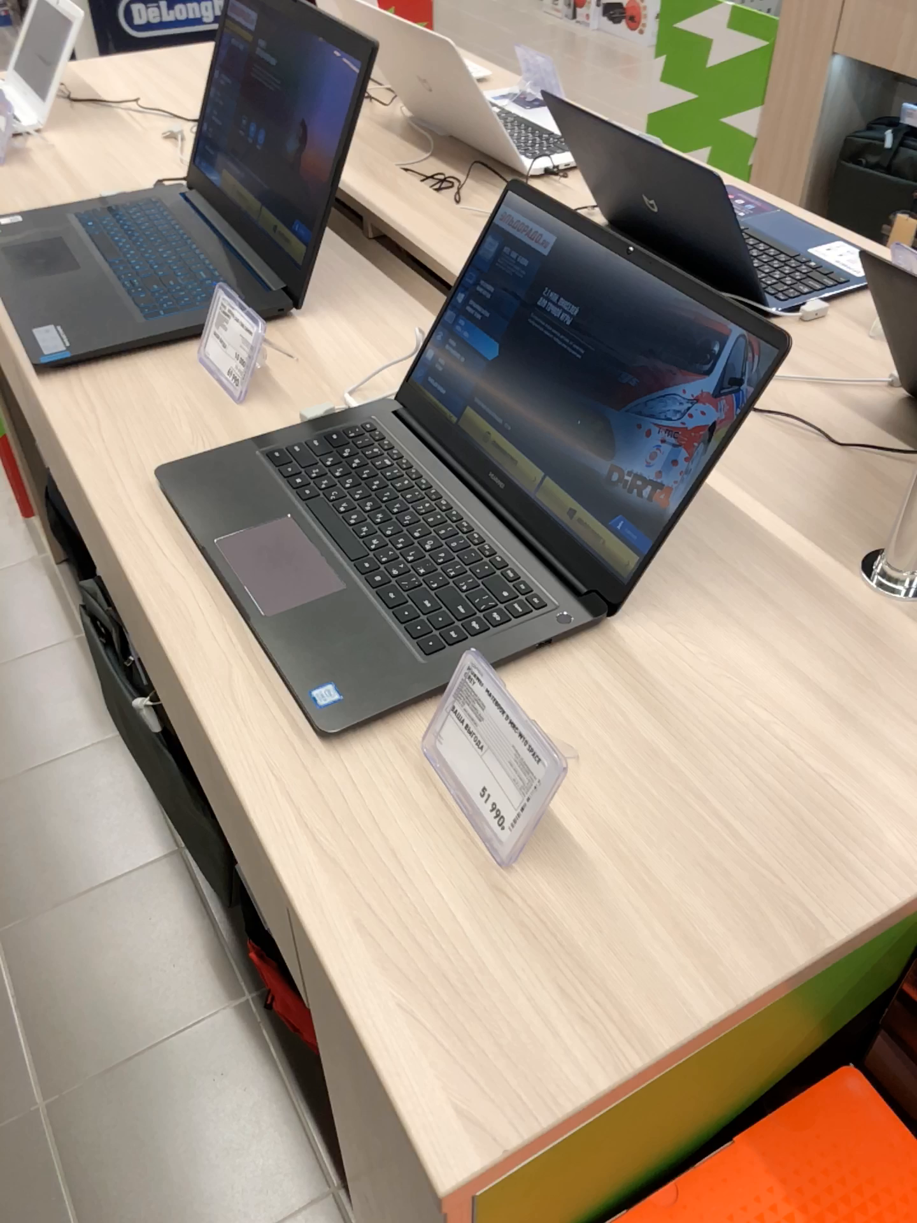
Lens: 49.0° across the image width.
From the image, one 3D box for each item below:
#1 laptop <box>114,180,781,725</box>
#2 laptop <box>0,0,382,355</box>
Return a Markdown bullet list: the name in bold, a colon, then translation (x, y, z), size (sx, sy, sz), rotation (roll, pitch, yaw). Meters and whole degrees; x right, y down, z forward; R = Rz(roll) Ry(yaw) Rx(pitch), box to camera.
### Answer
- **laptop**: translation (-0.022, -0.156, 0.784), size (0.358, 0.180, 0.345), rotation (-22, 47, -22)
- **laptop**: translation (-0.350, -0.524, 1.133), size (0.378, 0.242, 0.393), rotation (-20, 46, -21)
